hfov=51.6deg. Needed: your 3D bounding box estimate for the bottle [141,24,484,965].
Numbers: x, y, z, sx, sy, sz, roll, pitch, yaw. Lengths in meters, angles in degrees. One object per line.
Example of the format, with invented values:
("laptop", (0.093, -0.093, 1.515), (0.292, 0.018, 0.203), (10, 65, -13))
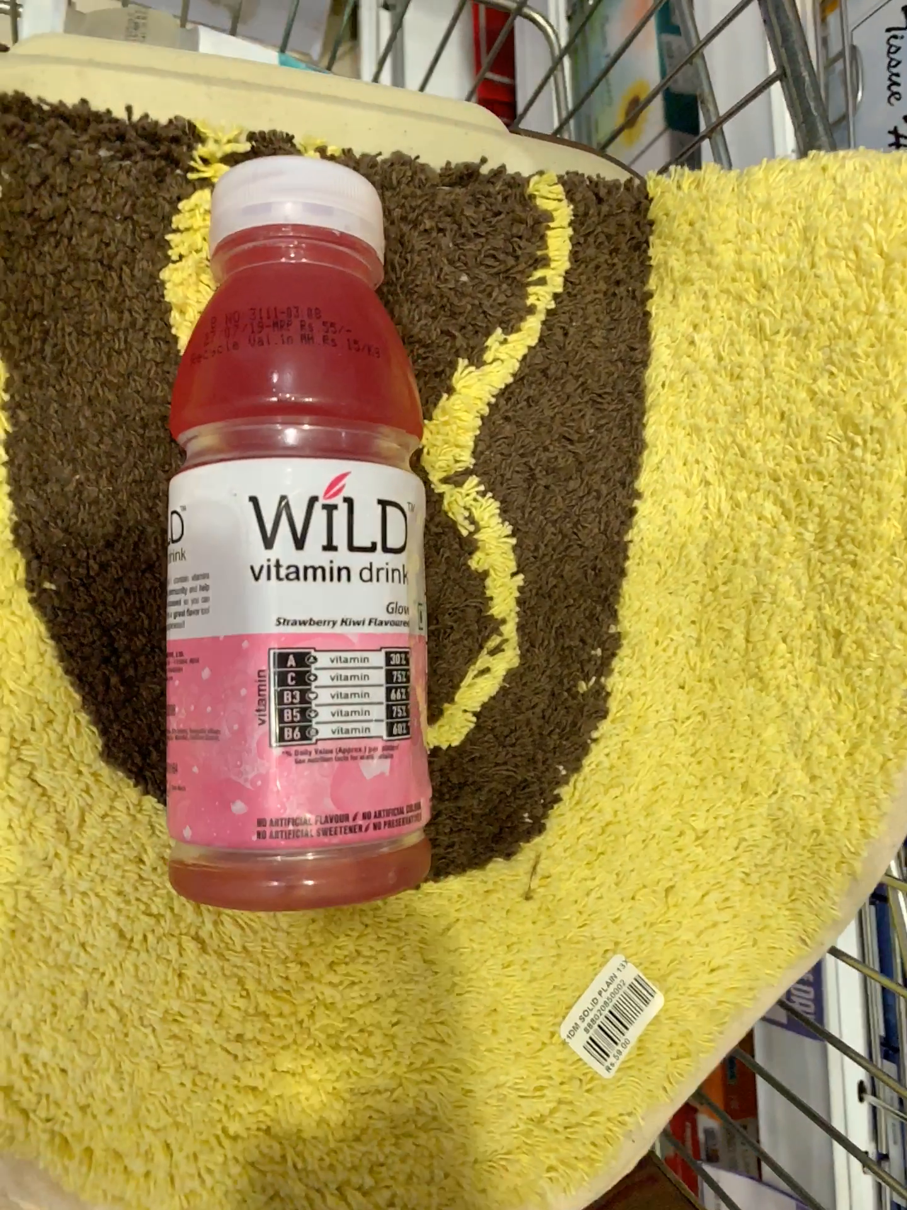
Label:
("bottle", (-0.032, -0.018, 0.194), (0.060, 0.050, 0.160), (-1, 94, -20))
